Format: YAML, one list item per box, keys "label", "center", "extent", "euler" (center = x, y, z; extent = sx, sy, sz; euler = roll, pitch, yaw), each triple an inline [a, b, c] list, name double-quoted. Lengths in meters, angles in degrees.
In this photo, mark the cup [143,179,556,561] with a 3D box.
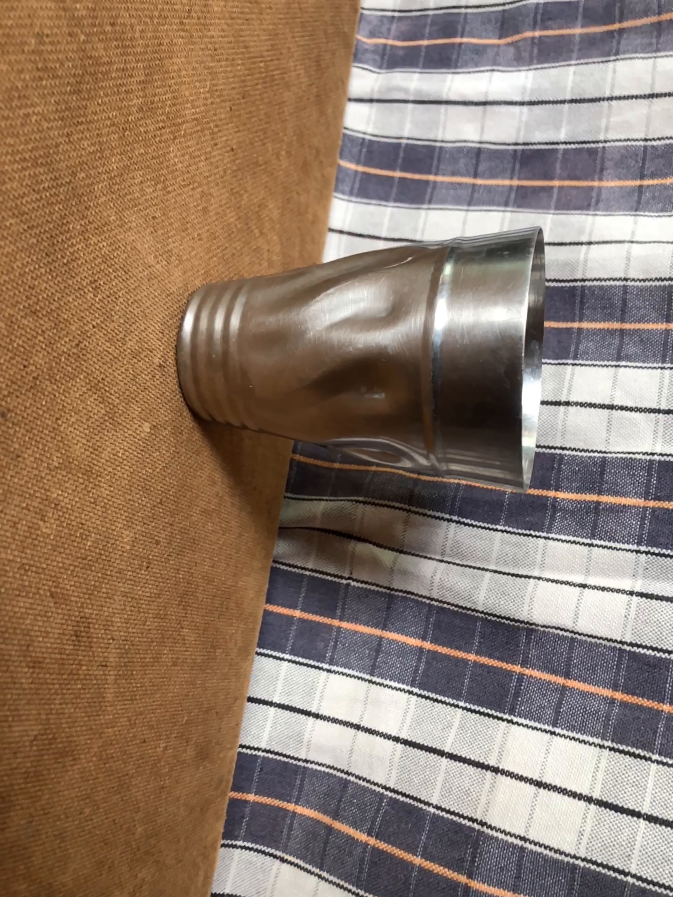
- label: "cup"
  center: [0.014, -0.026, 0.237]
  extent: [0.080, 0.099, 0.080]
  euler: [3, 90, -73]
